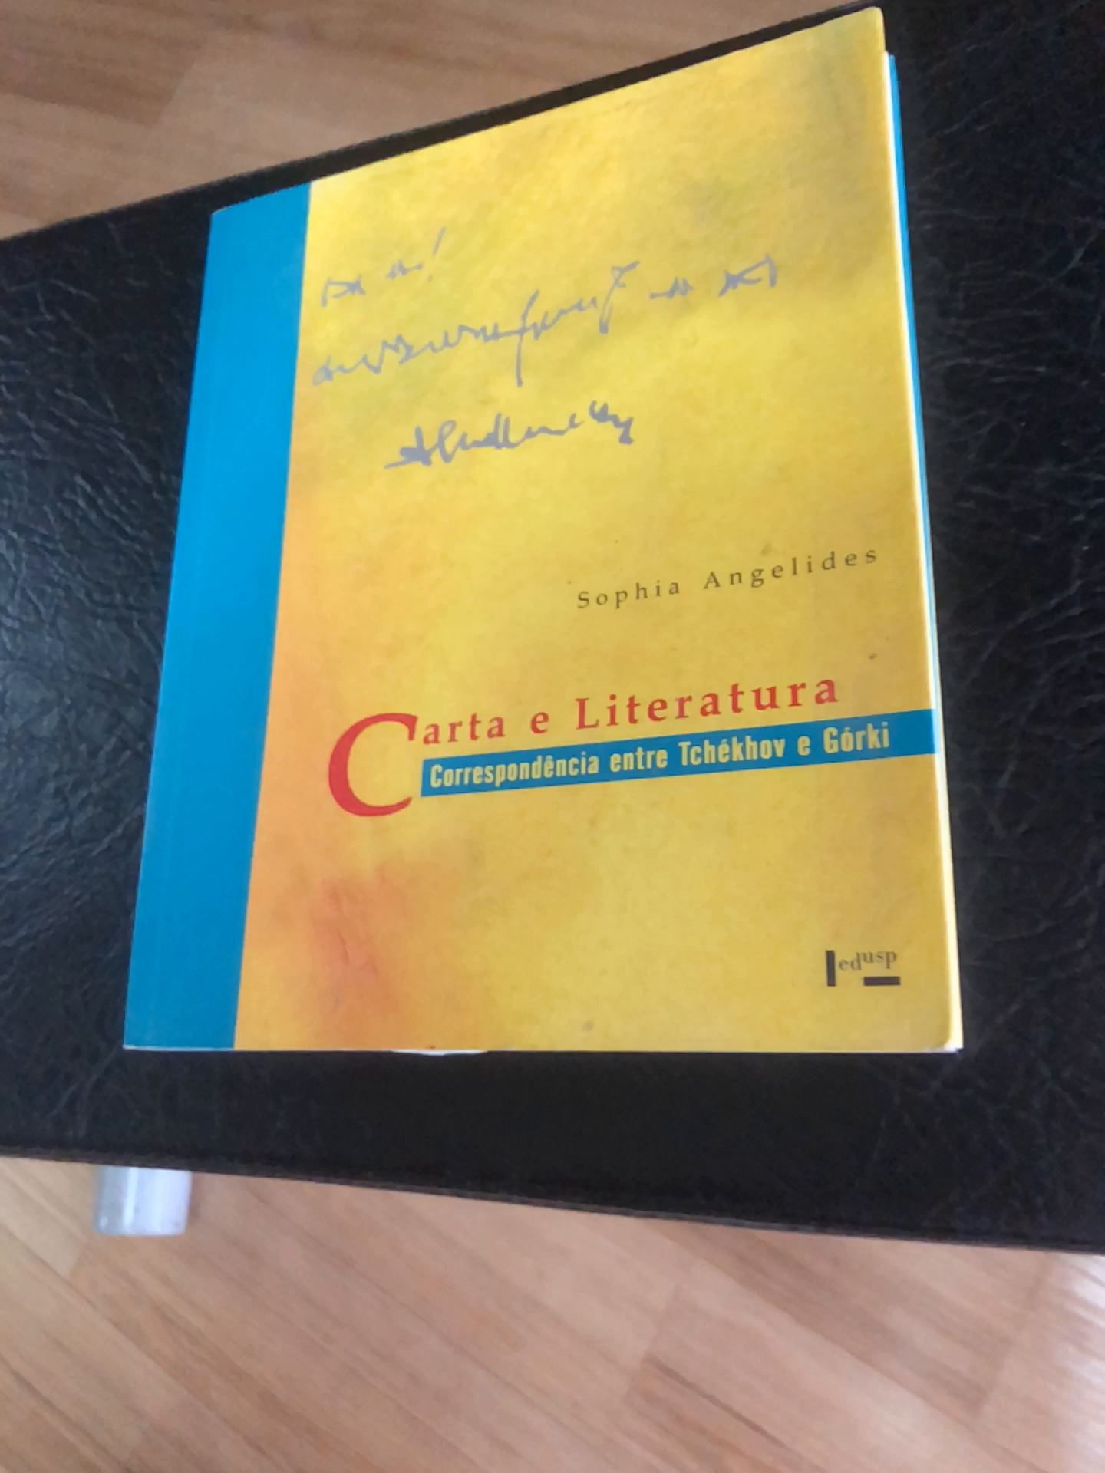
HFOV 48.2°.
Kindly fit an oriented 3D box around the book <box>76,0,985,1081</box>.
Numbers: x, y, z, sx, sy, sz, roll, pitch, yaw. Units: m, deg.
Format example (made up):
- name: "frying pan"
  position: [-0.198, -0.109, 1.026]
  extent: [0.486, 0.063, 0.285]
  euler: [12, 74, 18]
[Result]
- name: "book"
  position: [-0.011, -0.039, 0.255]
  extent: [0.173, 0.024, 0.208]
  euler: [-6, 73, 23]
